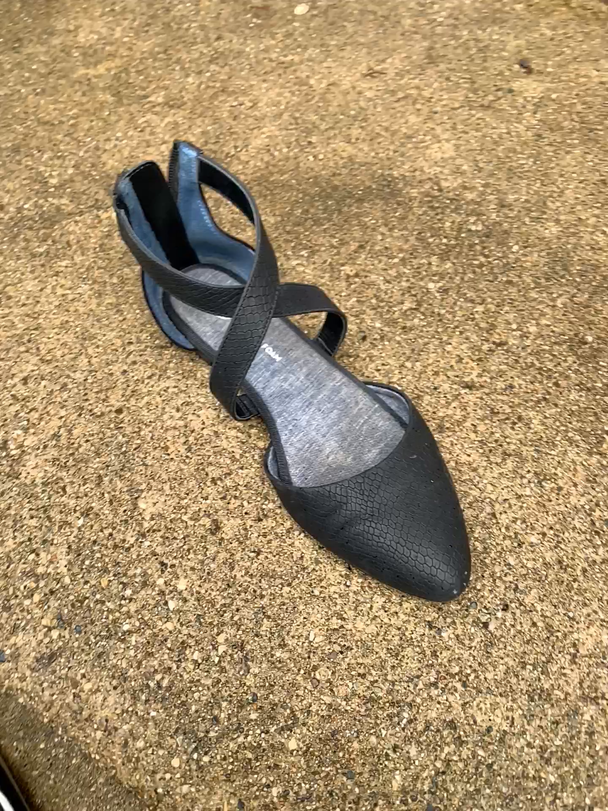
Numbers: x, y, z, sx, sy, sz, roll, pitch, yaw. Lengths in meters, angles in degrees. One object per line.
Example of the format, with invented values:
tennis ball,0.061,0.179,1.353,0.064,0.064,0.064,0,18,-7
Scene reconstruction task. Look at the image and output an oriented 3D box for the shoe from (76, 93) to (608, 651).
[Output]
shoe,0.002,-0.026,0.322,0.097,0.113,0.263,-32,64,-16
